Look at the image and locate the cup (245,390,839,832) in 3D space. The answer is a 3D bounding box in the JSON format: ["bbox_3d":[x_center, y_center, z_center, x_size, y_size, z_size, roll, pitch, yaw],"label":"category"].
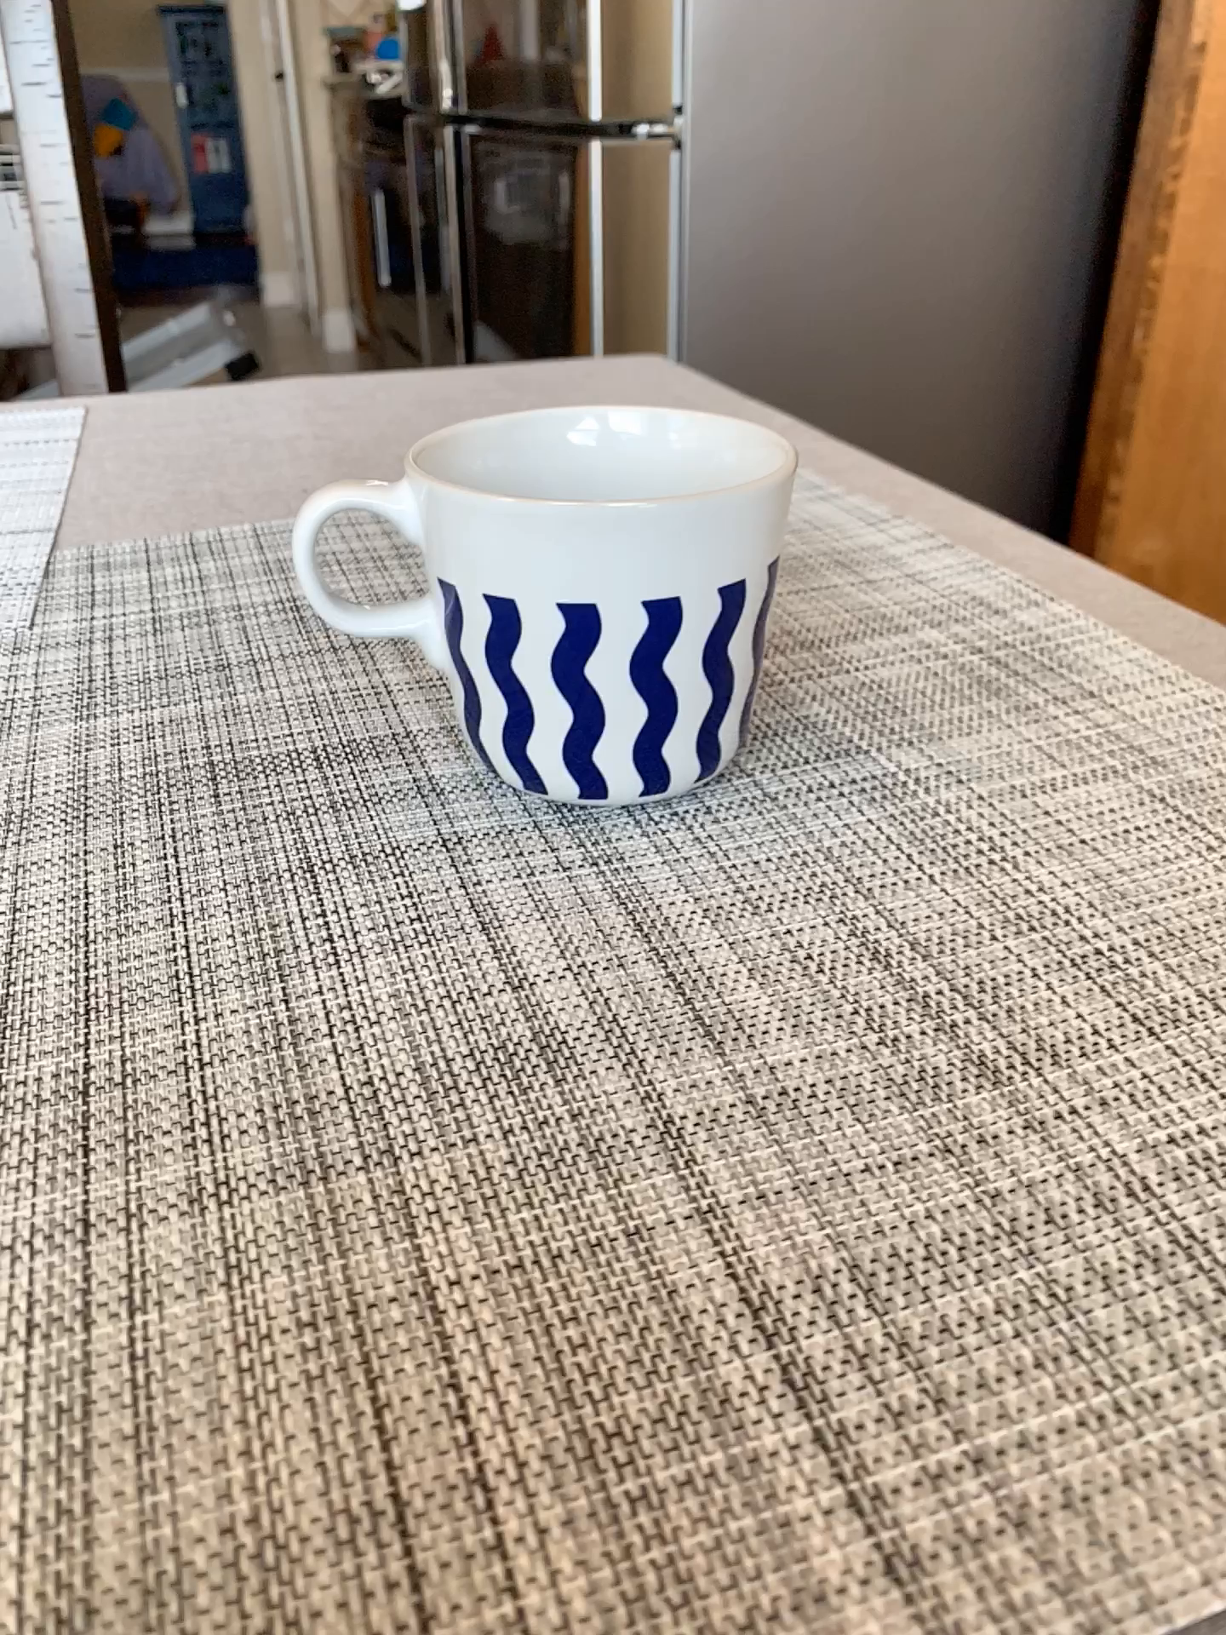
[{"bbox_3d":[-0.015,-0.052,0.296,0.112,0.072,0.087,-2,30,-3],"label":"cup"}]
